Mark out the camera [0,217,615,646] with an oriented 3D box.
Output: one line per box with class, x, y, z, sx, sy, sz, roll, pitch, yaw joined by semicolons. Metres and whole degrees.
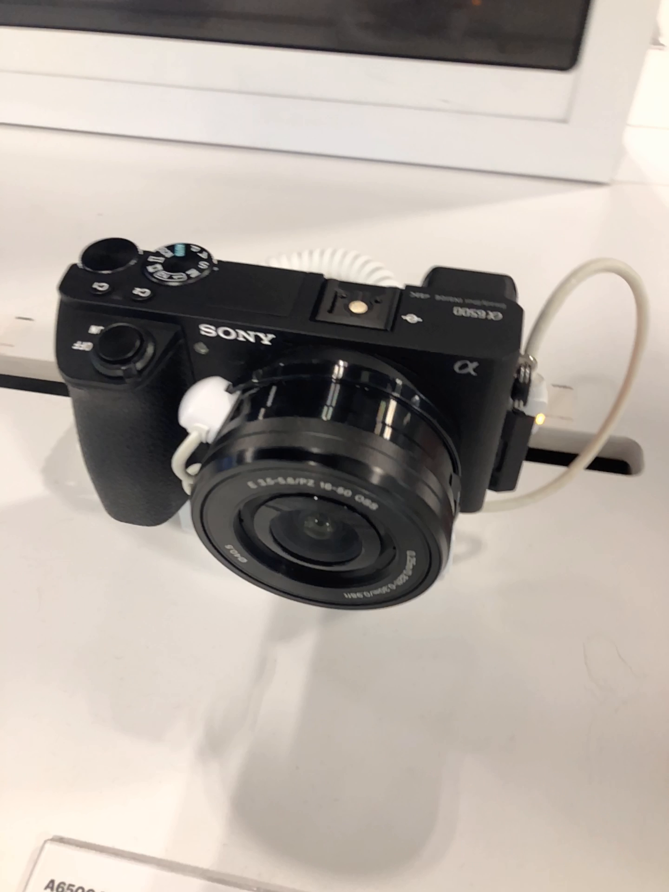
camera;-0.009;-0.005;0.202;0.140;0.070;0.070;8;48;5
